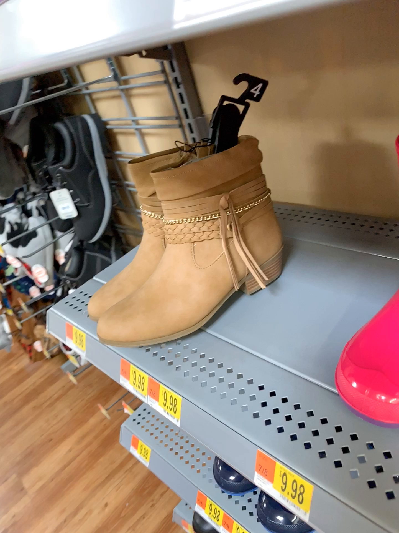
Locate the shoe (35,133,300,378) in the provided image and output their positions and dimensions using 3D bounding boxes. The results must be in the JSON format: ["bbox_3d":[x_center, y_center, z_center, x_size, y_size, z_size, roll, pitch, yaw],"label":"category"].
[{"bbox_3d":[-0.022,-0.019,0.444,0.237,0.154,0.083,-29,33,-16],"label":"shoe"}]

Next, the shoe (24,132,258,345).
[{"bbox_3d":[-0.062,-0.035,0.490,0.217,0.161,0.089,-23,32,-7],"label":"shoe"}]
